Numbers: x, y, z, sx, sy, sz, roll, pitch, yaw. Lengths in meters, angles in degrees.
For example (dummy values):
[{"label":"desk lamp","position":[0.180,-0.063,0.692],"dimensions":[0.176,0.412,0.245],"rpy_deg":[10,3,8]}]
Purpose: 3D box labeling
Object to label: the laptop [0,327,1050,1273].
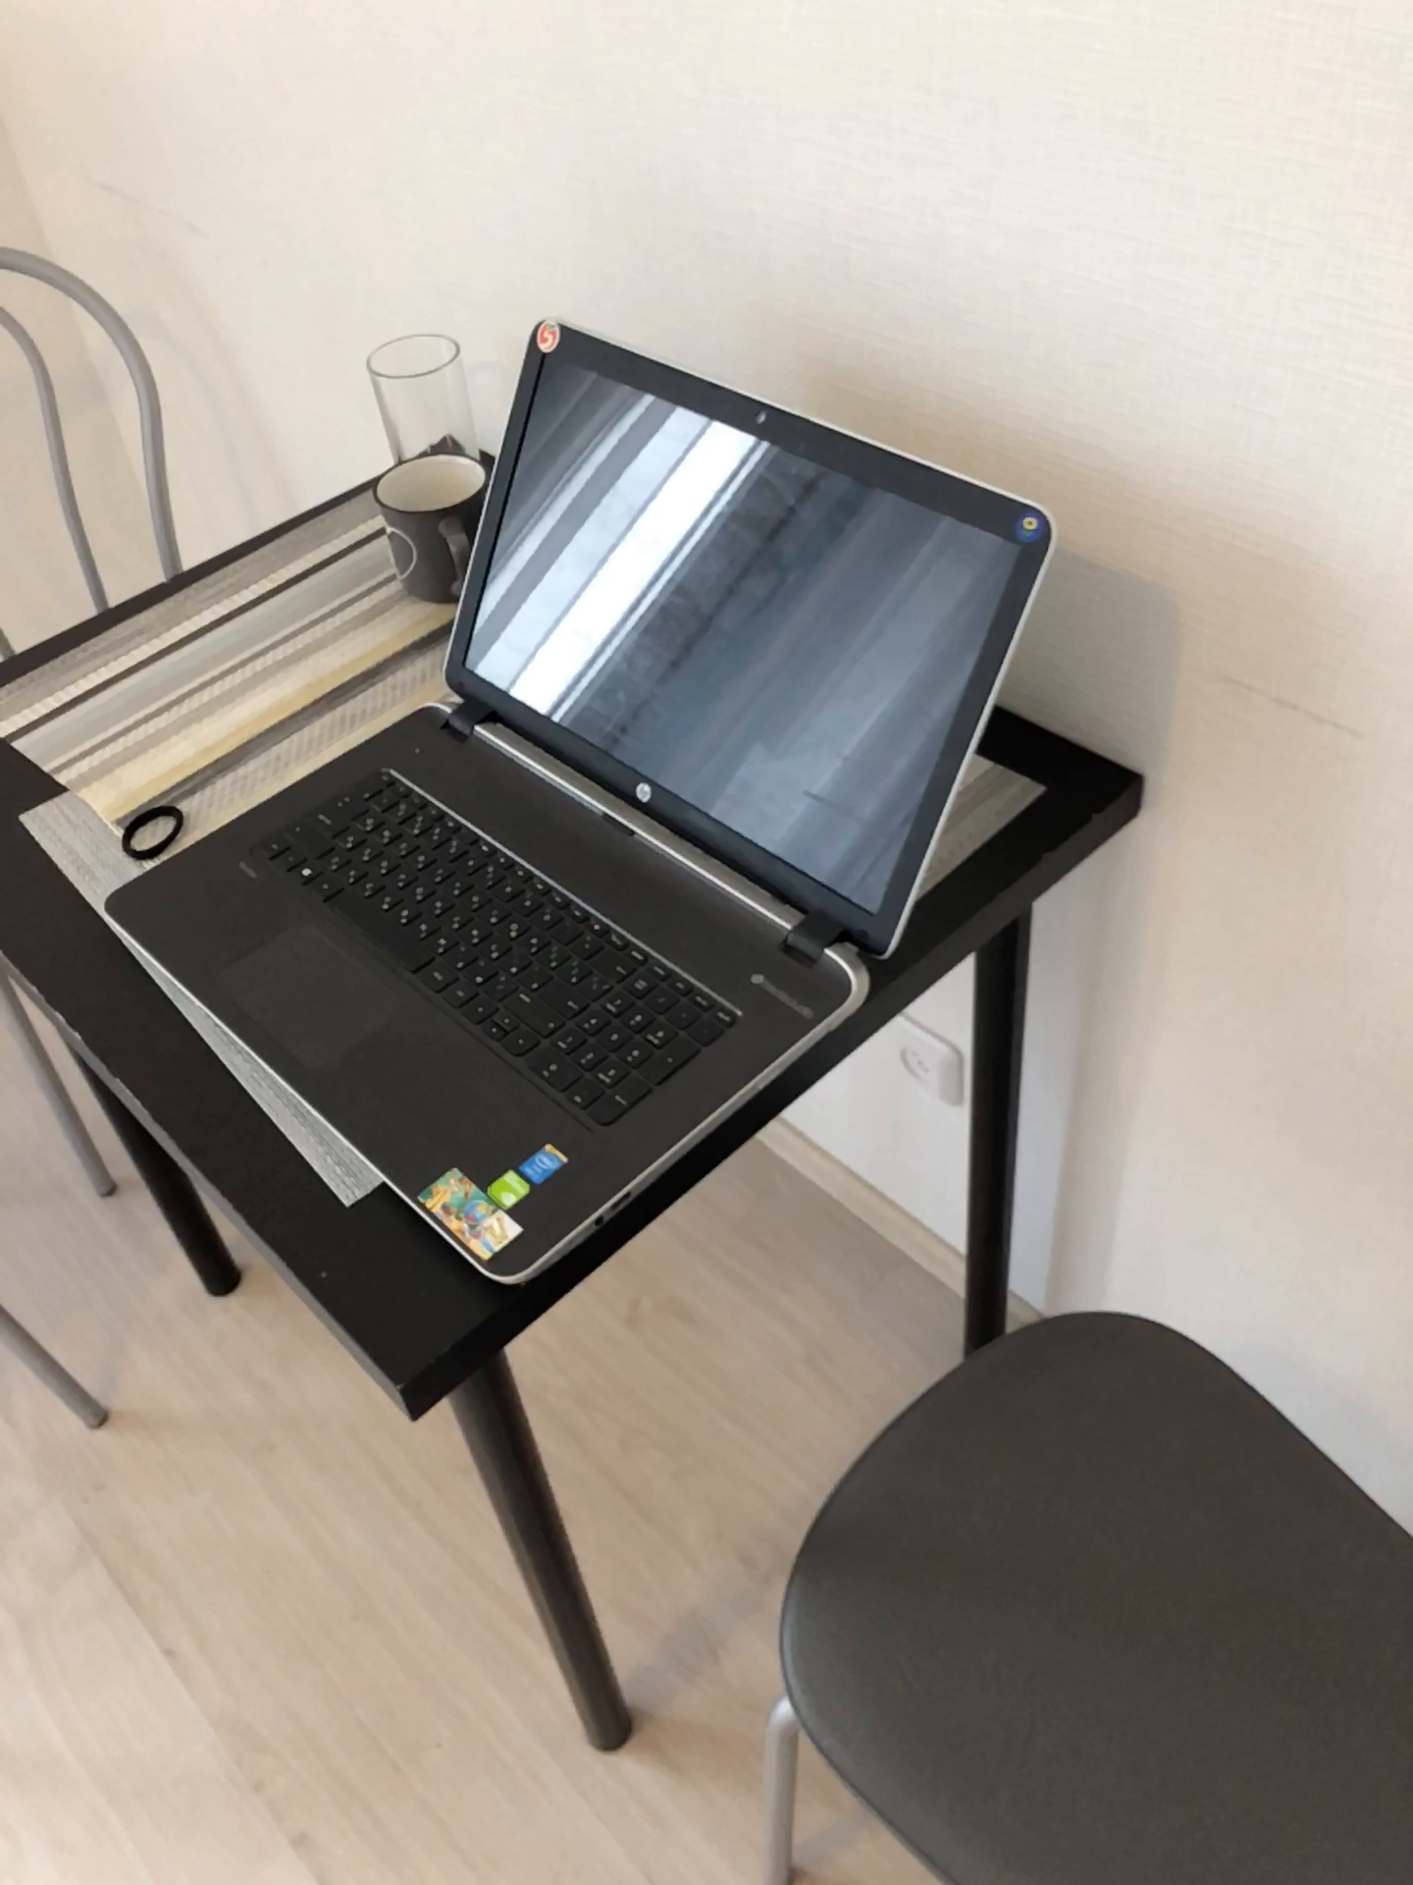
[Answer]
[{"label":"laptop","position":[-0.104,-0.122,0.908],"dimensions":[0.413,0.227,0.416],"rpy_deg":[-36,51,-26]}]
